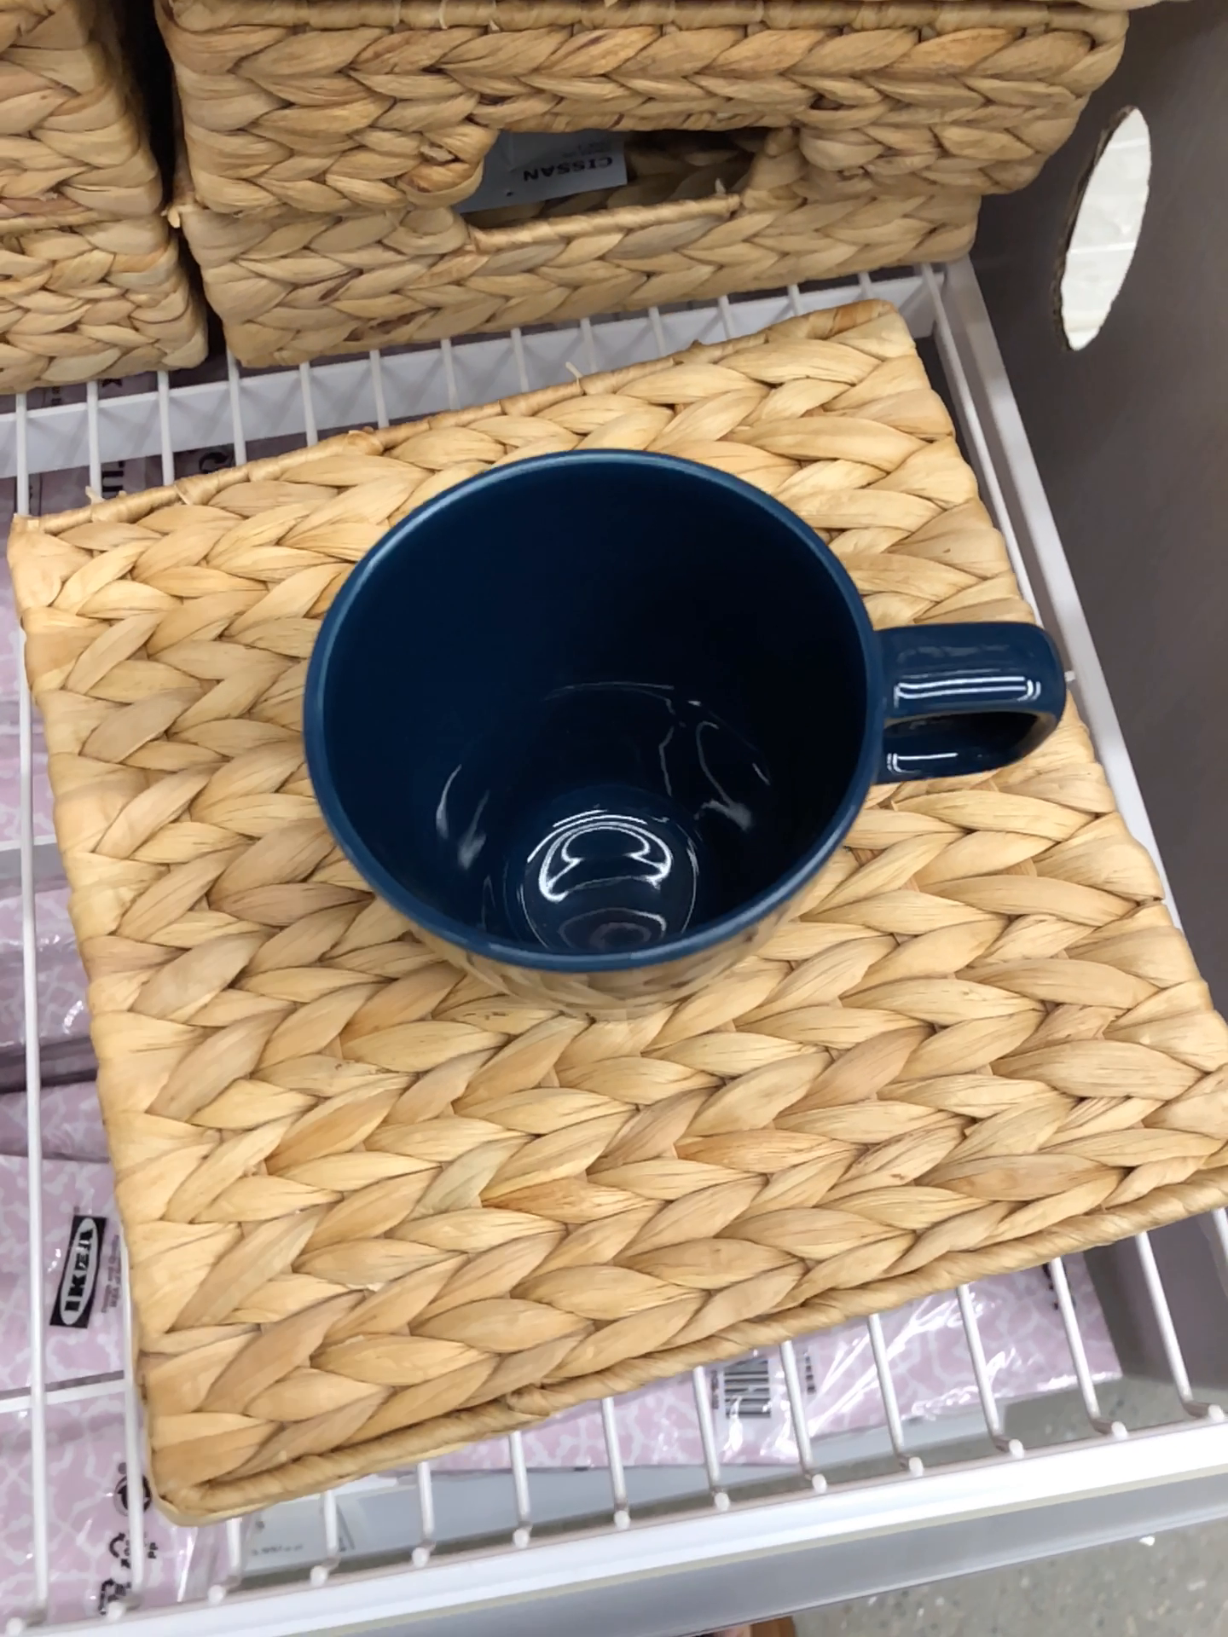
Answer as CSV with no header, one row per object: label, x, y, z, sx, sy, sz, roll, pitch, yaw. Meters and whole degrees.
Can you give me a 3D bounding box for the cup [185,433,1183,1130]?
cup,0.008,0.001,0.221,0.120,0.090,0.080,-2,69,1
